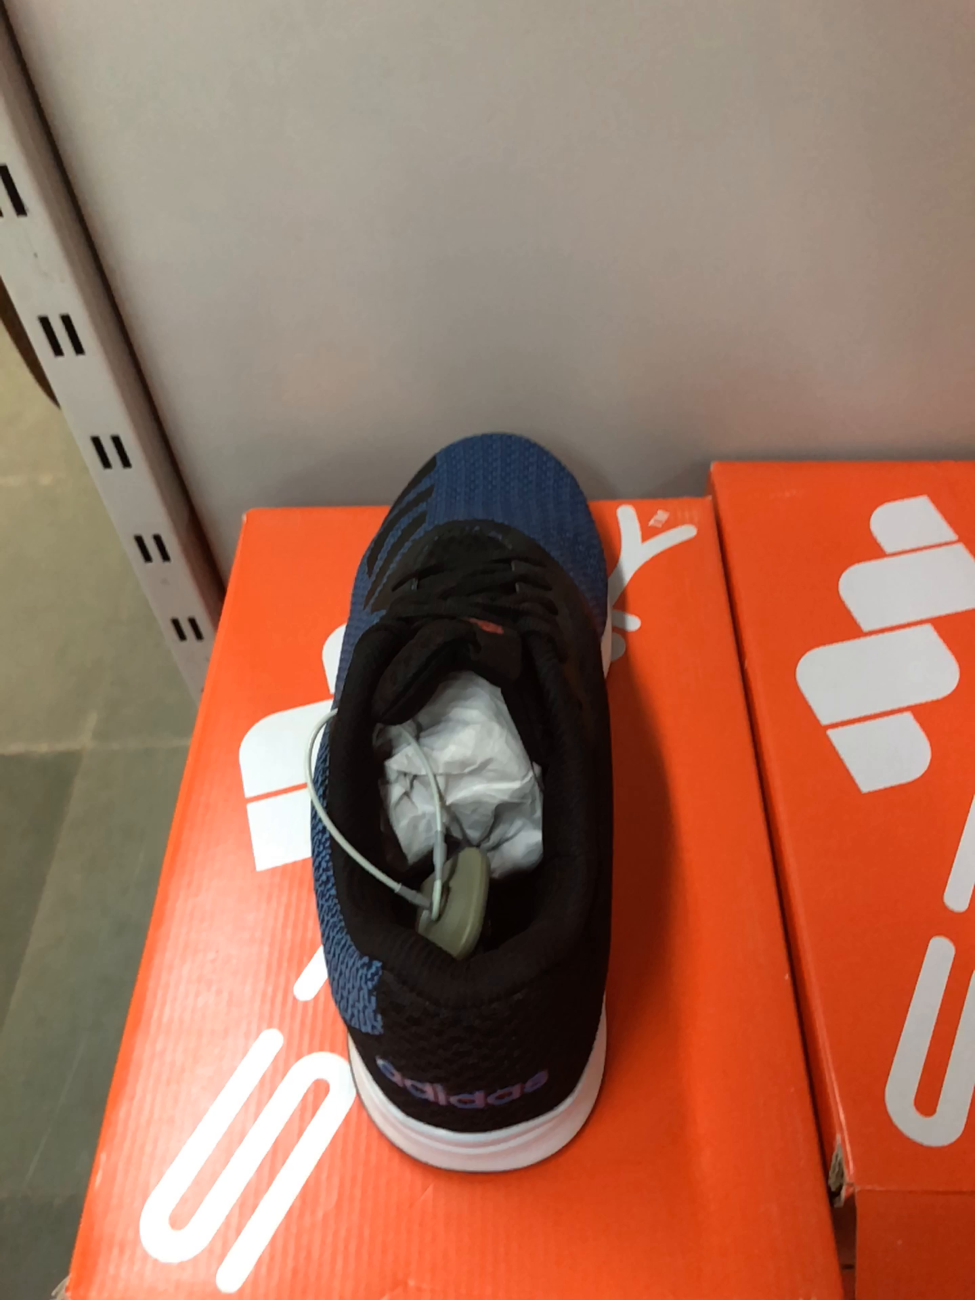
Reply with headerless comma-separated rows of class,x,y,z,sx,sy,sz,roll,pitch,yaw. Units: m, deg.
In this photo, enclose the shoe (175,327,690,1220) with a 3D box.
shoe,-0.006,0.028,0.353,0.105,0.135,0.255,-2,49,3
